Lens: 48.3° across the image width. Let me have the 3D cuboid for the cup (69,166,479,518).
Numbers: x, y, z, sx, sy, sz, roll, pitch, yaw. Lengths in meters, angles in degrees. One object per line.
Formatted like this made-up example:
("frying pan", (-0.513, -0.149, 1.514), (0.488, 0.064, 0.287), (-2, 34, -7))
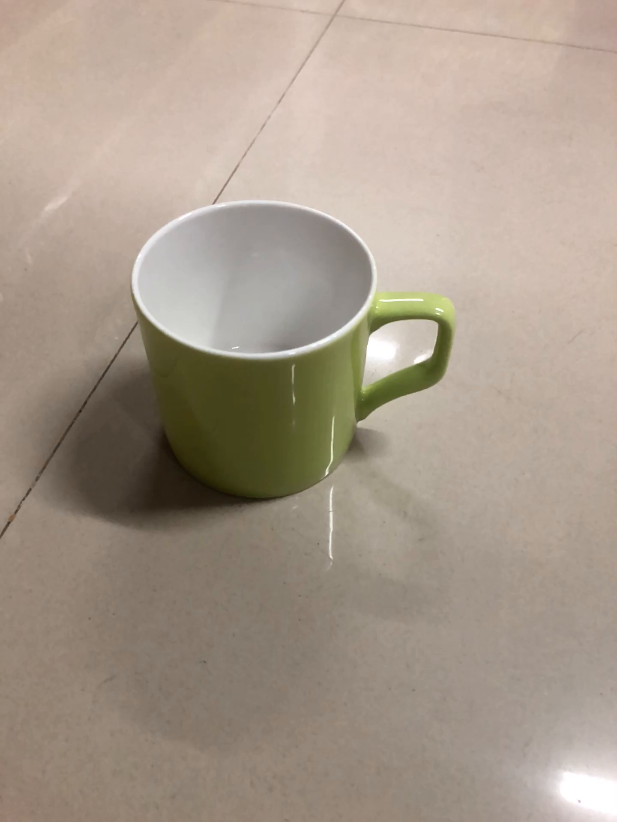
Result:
("cup", (-0.007, -0.021, 0.220), (0.100, 0.080, 0.070), (4, 50, 2))
